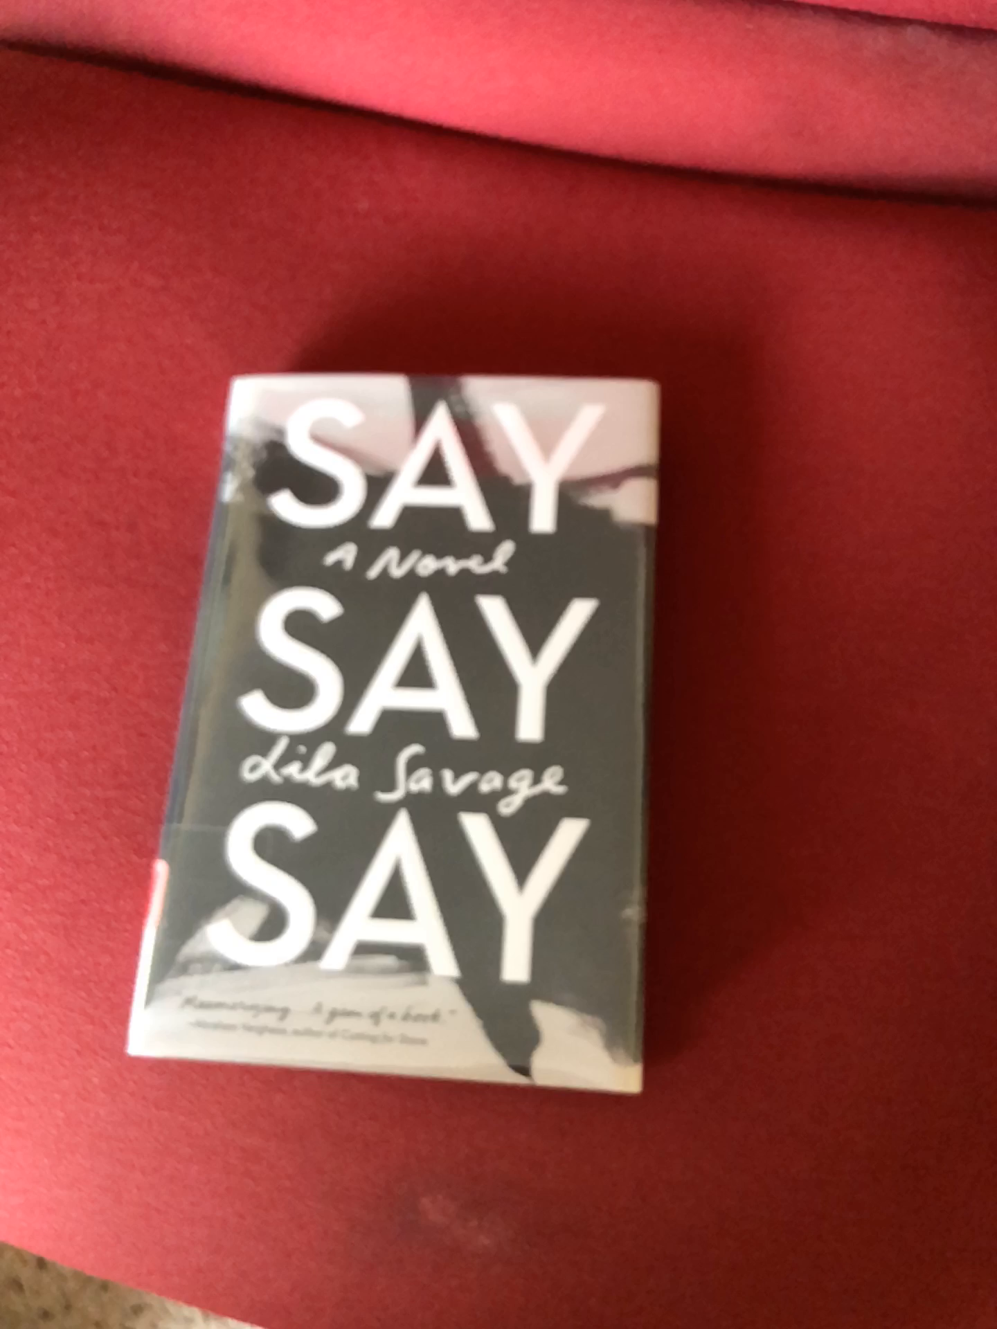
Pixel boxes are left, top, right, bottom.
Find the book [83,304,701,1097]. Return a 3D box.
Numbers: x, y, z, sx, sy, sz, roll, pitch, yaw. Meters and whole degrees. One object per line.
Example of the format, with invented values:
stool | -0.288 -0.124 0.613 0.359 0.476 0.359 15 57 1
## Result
book | -0.022 0.004 0.320 0.150 0.040 0.210 2 77 5
